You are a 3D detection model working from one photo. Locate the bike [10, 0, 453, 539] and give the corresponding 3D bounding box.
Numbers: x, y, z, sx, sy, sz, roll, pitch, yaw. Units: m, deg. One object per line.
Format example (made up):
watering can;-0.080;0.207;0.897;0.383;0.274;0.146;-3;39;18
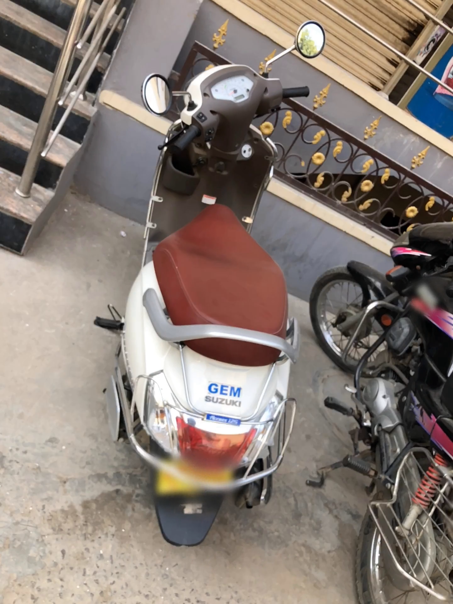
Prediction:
bike;-0.127;-0.267;1.769;0.597;1.194;1.492;20;34;-23
